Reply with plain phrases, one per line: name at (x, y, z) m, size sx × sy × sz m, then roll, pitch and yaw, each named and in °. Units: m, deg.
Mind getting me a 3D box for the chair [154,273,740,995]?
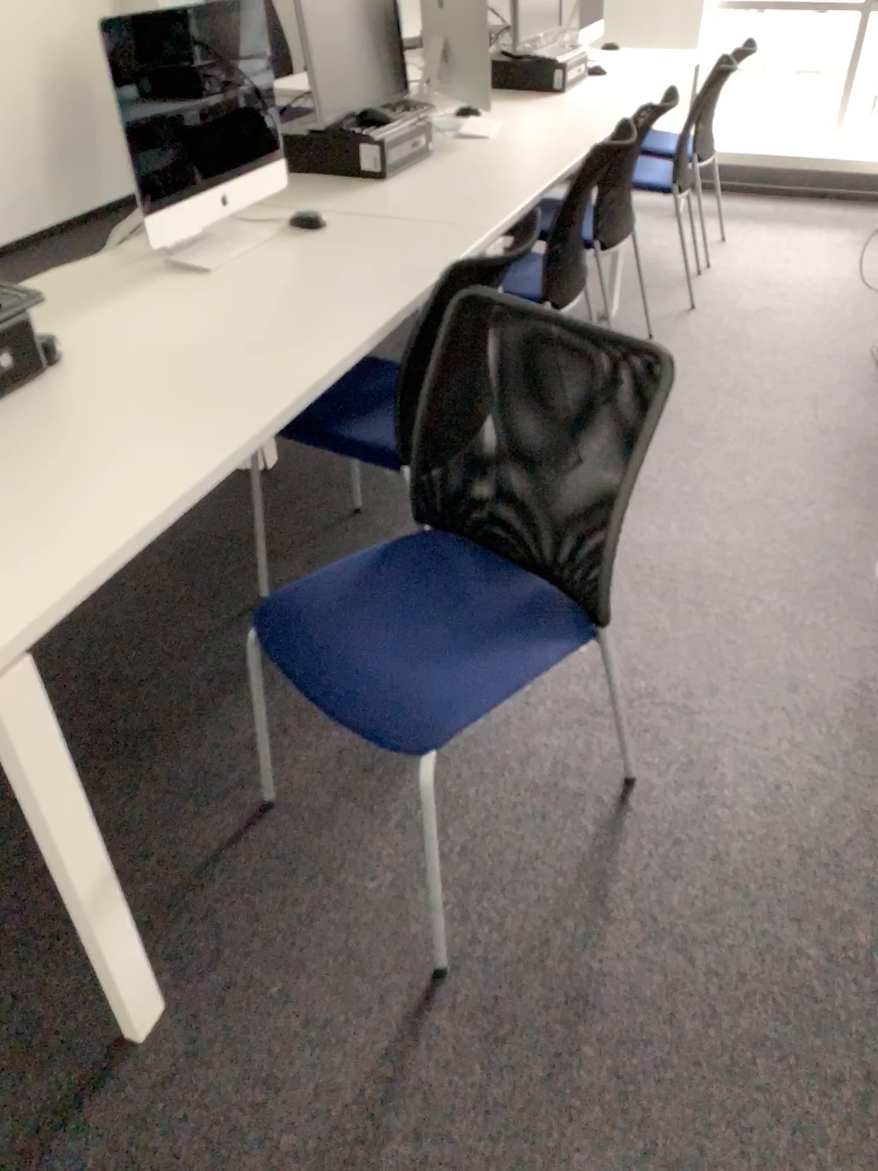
chair at (0.019, 0.058, 1.484) m, size 0.602 × 0.895 × 0.541 m, roll -31°, pitch 46°, yaw -34°
